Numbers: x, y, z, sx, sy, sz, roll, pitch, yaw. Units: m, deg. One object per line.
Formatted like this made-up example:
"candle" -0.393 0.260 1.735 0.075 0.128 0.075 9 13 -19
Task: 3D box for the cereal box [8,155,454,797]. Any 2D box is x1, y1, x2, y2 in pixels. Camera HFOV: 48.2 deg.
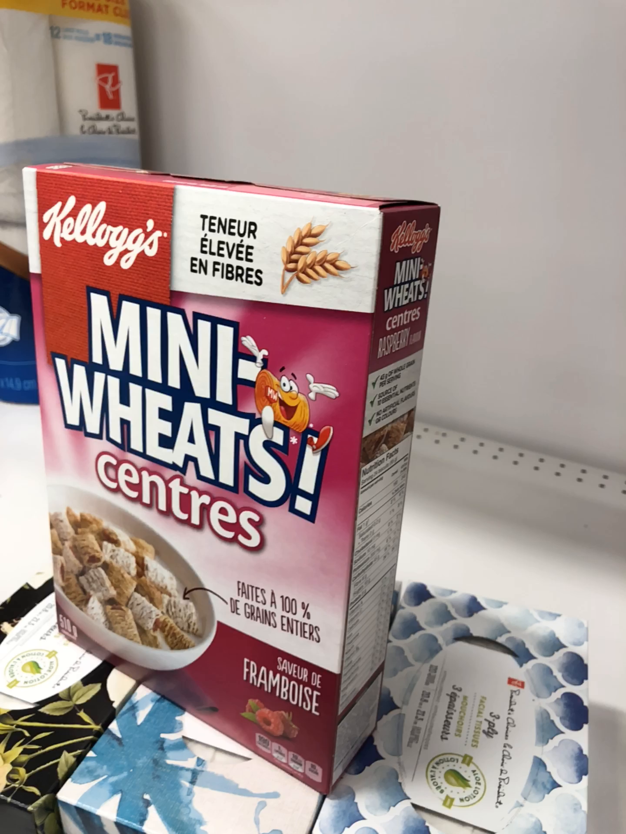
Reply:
"cereal box" -0.056 0.019 0.353 0.210 0.269 0.050 17 23 30
